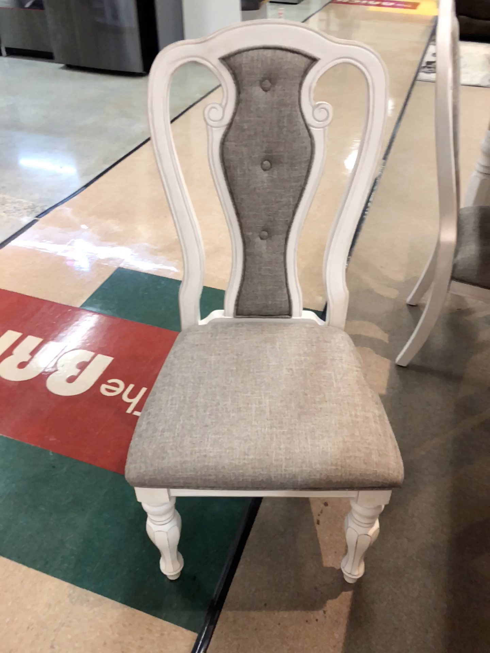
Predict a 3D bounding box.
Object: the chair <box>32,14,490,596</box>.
[{"bbox_3d":[0.059,-0.015,1.127,0.550,1.013,0.675,2,39,1],"label":"chair"}]
